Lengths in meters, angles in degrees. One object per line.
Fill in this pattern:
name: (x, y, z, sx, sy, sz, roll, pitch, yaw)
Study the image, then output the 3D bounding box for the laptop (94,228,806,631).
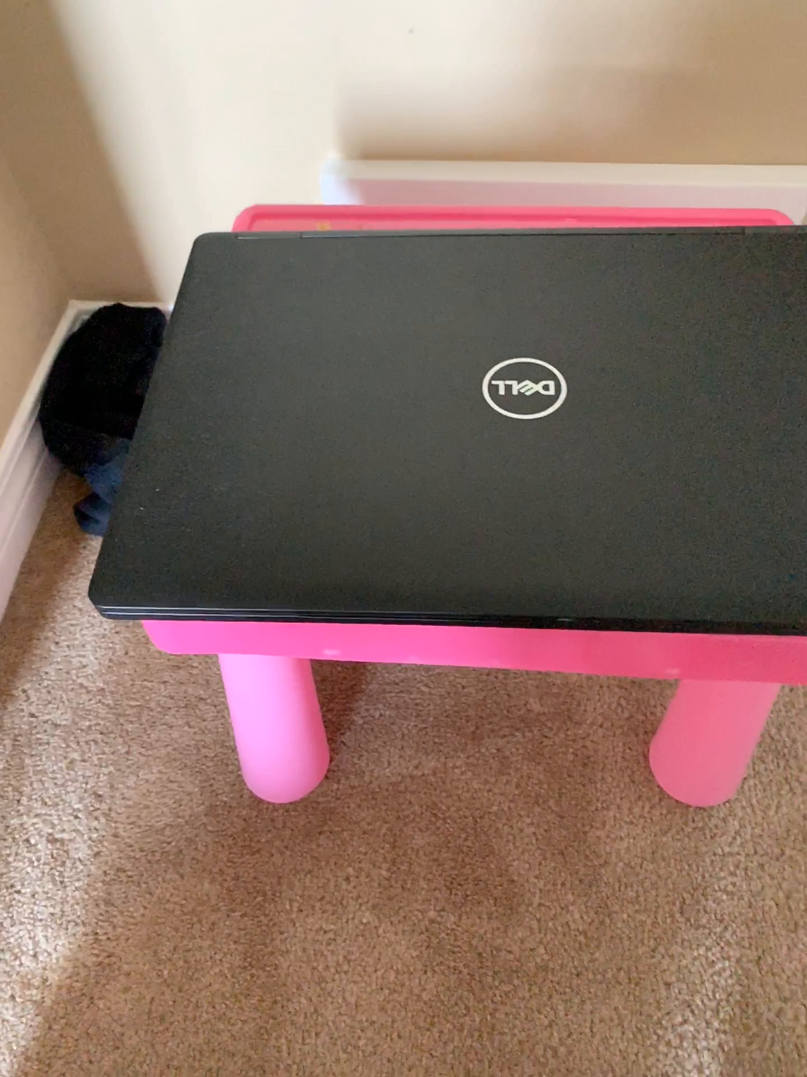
laptop: (0.058, -0.069, 0.401, 0.366, 0.005, 0.241, 1, 57, 5)
